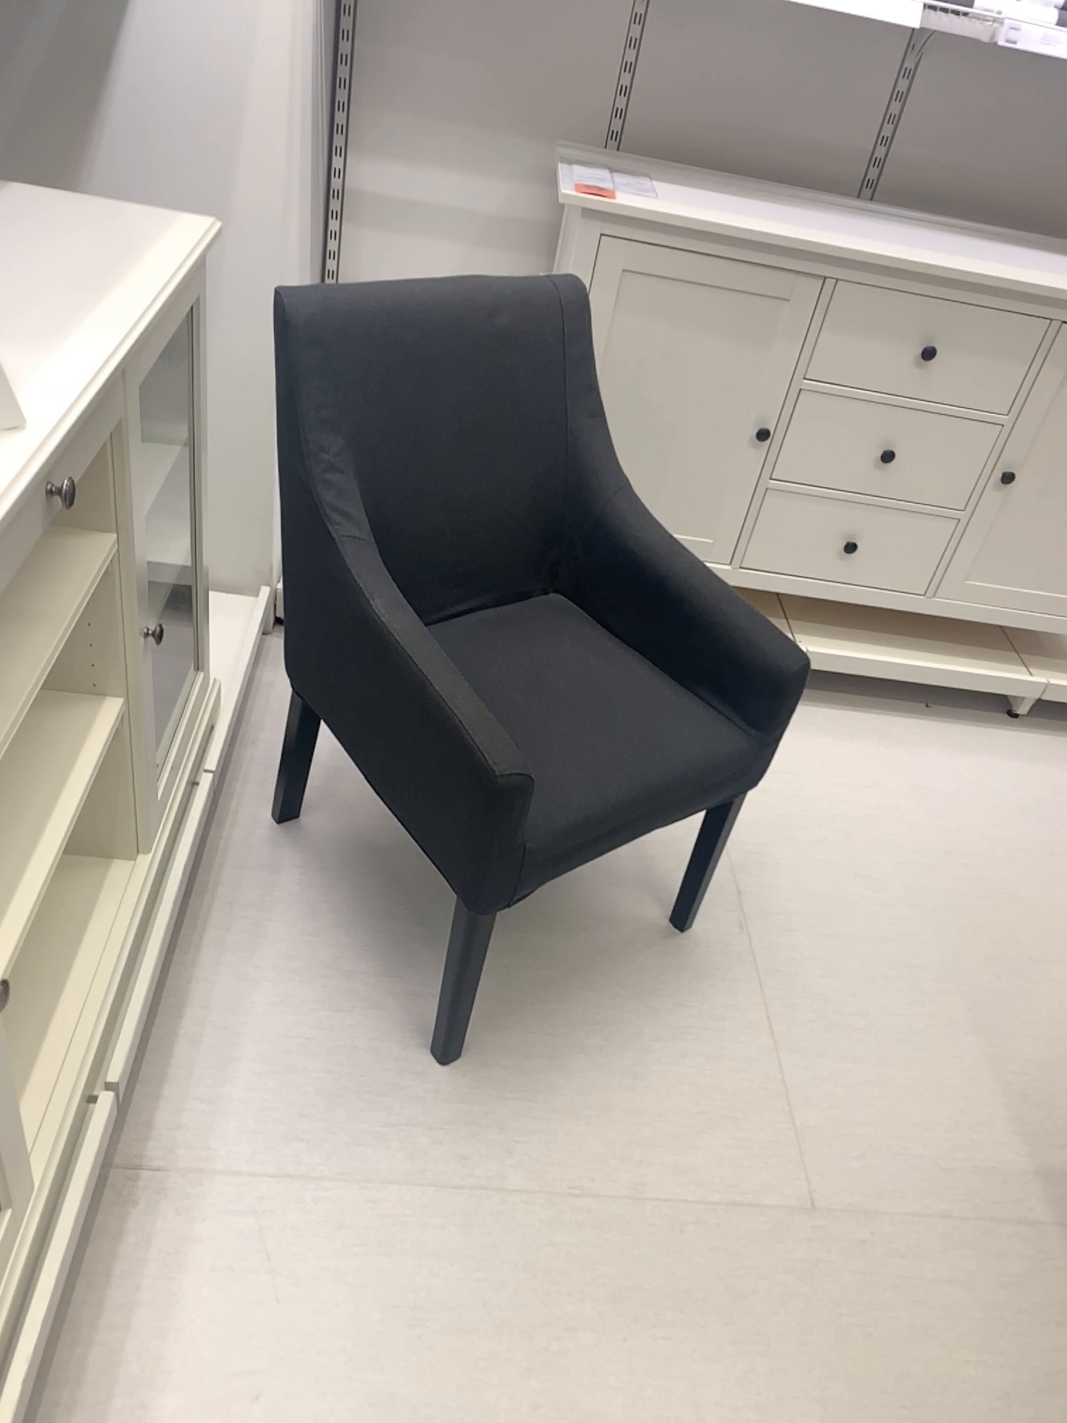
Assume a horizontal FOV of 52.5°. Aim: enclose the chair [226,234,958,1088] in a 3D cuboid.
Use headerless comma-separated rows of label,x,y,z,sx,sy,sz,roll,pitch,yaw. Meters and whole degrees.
chair,-0.003,-0.105,1.591,0.661,0.946,0.611,-19,47,-35
